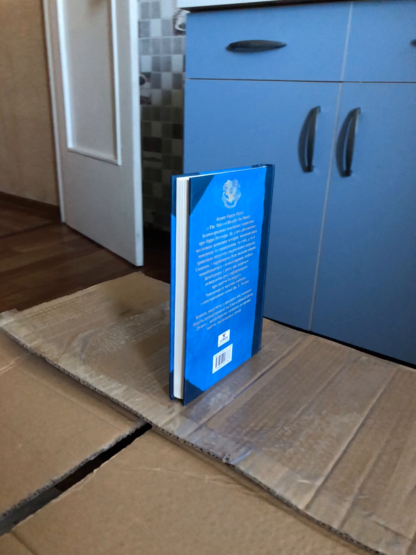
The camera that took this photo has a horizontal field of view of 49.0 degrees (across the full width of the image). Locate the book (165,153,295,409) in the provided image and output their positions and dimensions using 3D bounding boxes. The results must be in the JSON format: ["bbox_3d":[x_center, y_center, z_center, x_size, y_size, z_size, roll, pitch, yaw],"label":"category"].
[{"bbox_3d":[0.021,-0.004,0.416,0.030,0.199,0.144,17,26,34],"label":"book"}]
